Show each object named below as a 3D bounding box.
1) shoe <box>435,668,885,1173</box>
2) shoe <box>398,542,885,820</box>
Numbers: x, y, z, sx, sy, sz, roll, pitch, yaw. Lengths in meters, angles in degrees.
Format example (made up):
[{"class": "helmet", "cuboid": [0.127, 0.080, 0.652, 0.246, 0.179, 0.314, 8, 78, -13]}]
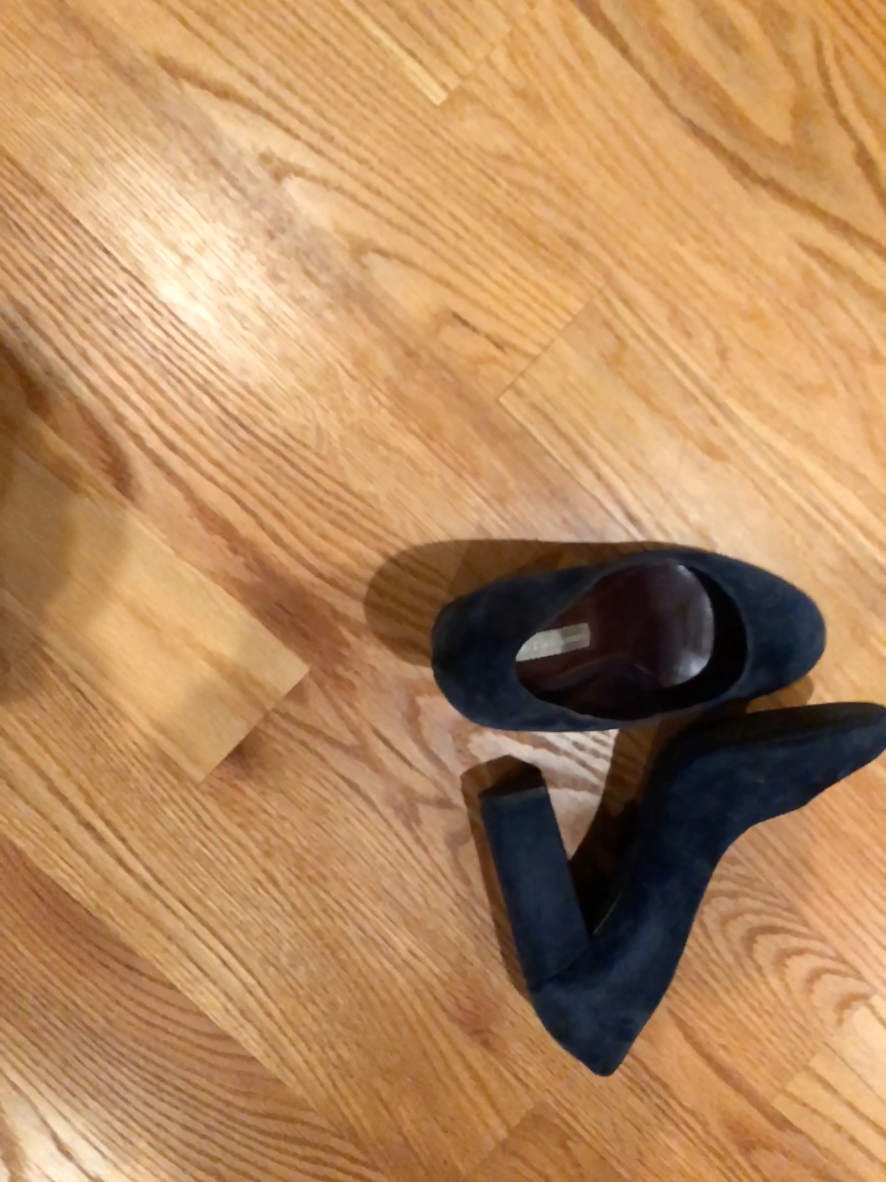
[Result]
[{"class": "shoe", "cuboid": [0.118, 0.144, 0.460, 0.204, 0.080, 0.152, -17, 95, -3]}, {"class": "shoe", "cuboid": [0.099, 0.027, 0.422, 0.226, 0.147, 0.080, -4, 94, -4]}]
